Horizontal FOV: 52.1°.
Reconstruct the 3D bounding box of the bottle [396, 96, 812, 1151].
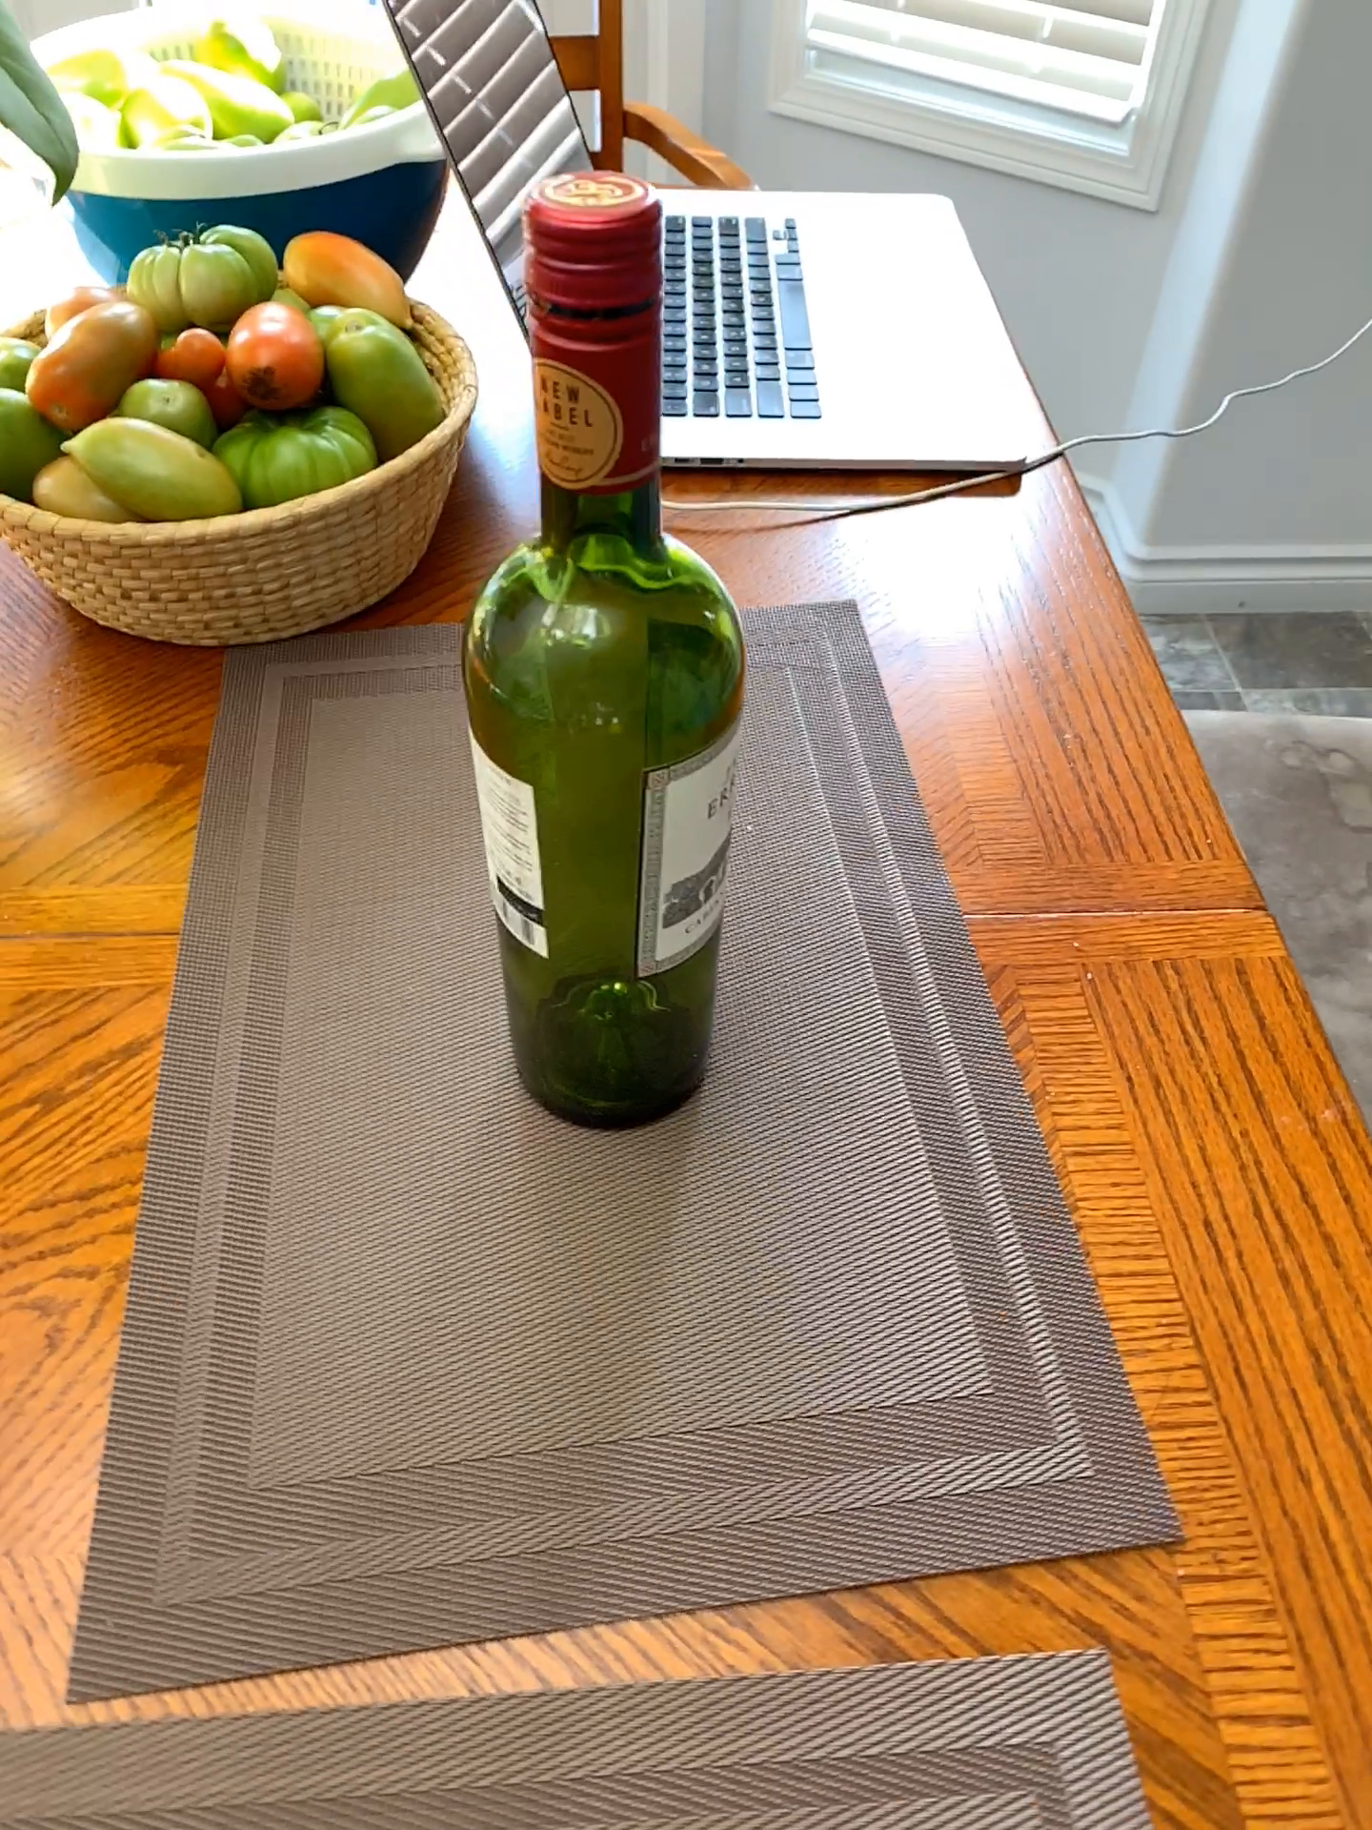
[{"bbox_3d":[-0.021,-0.055,0.414,0.080,0.307,0.091,0,47,-2],"label":"bottle"}]
